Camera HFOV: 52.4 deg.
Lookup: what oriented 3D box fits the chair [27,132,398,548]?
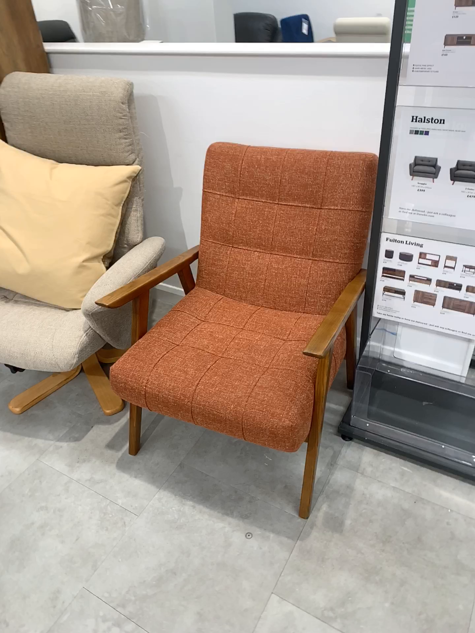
[{"bbox_3d":[0.015,0.013,1.460,0.688,0.884,0.704,12,38,23],"label":"chair"}]

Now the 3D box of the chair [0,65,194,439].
[{"bbox_3d":[-0.652,-0.239,1.674,0.698,1.013,0.685,6,36,15],"label":"chair"}]
